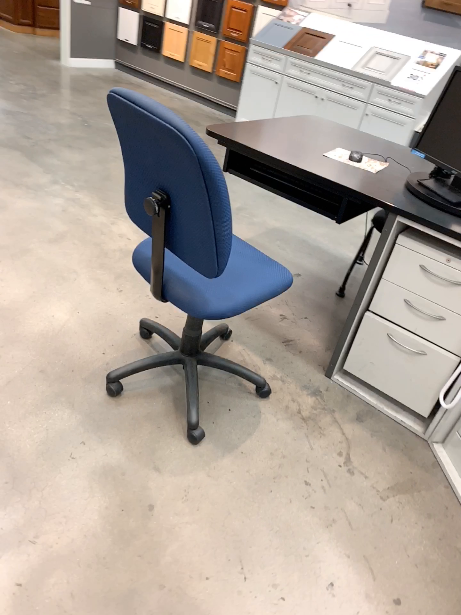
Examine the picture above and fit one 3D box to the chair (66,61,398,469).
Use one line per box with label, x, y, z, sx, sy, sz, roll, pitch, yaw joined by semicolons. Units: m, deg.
chair;-0.081;-0.171;1.606;0.694;1.035;0.660;-20;46;-40
